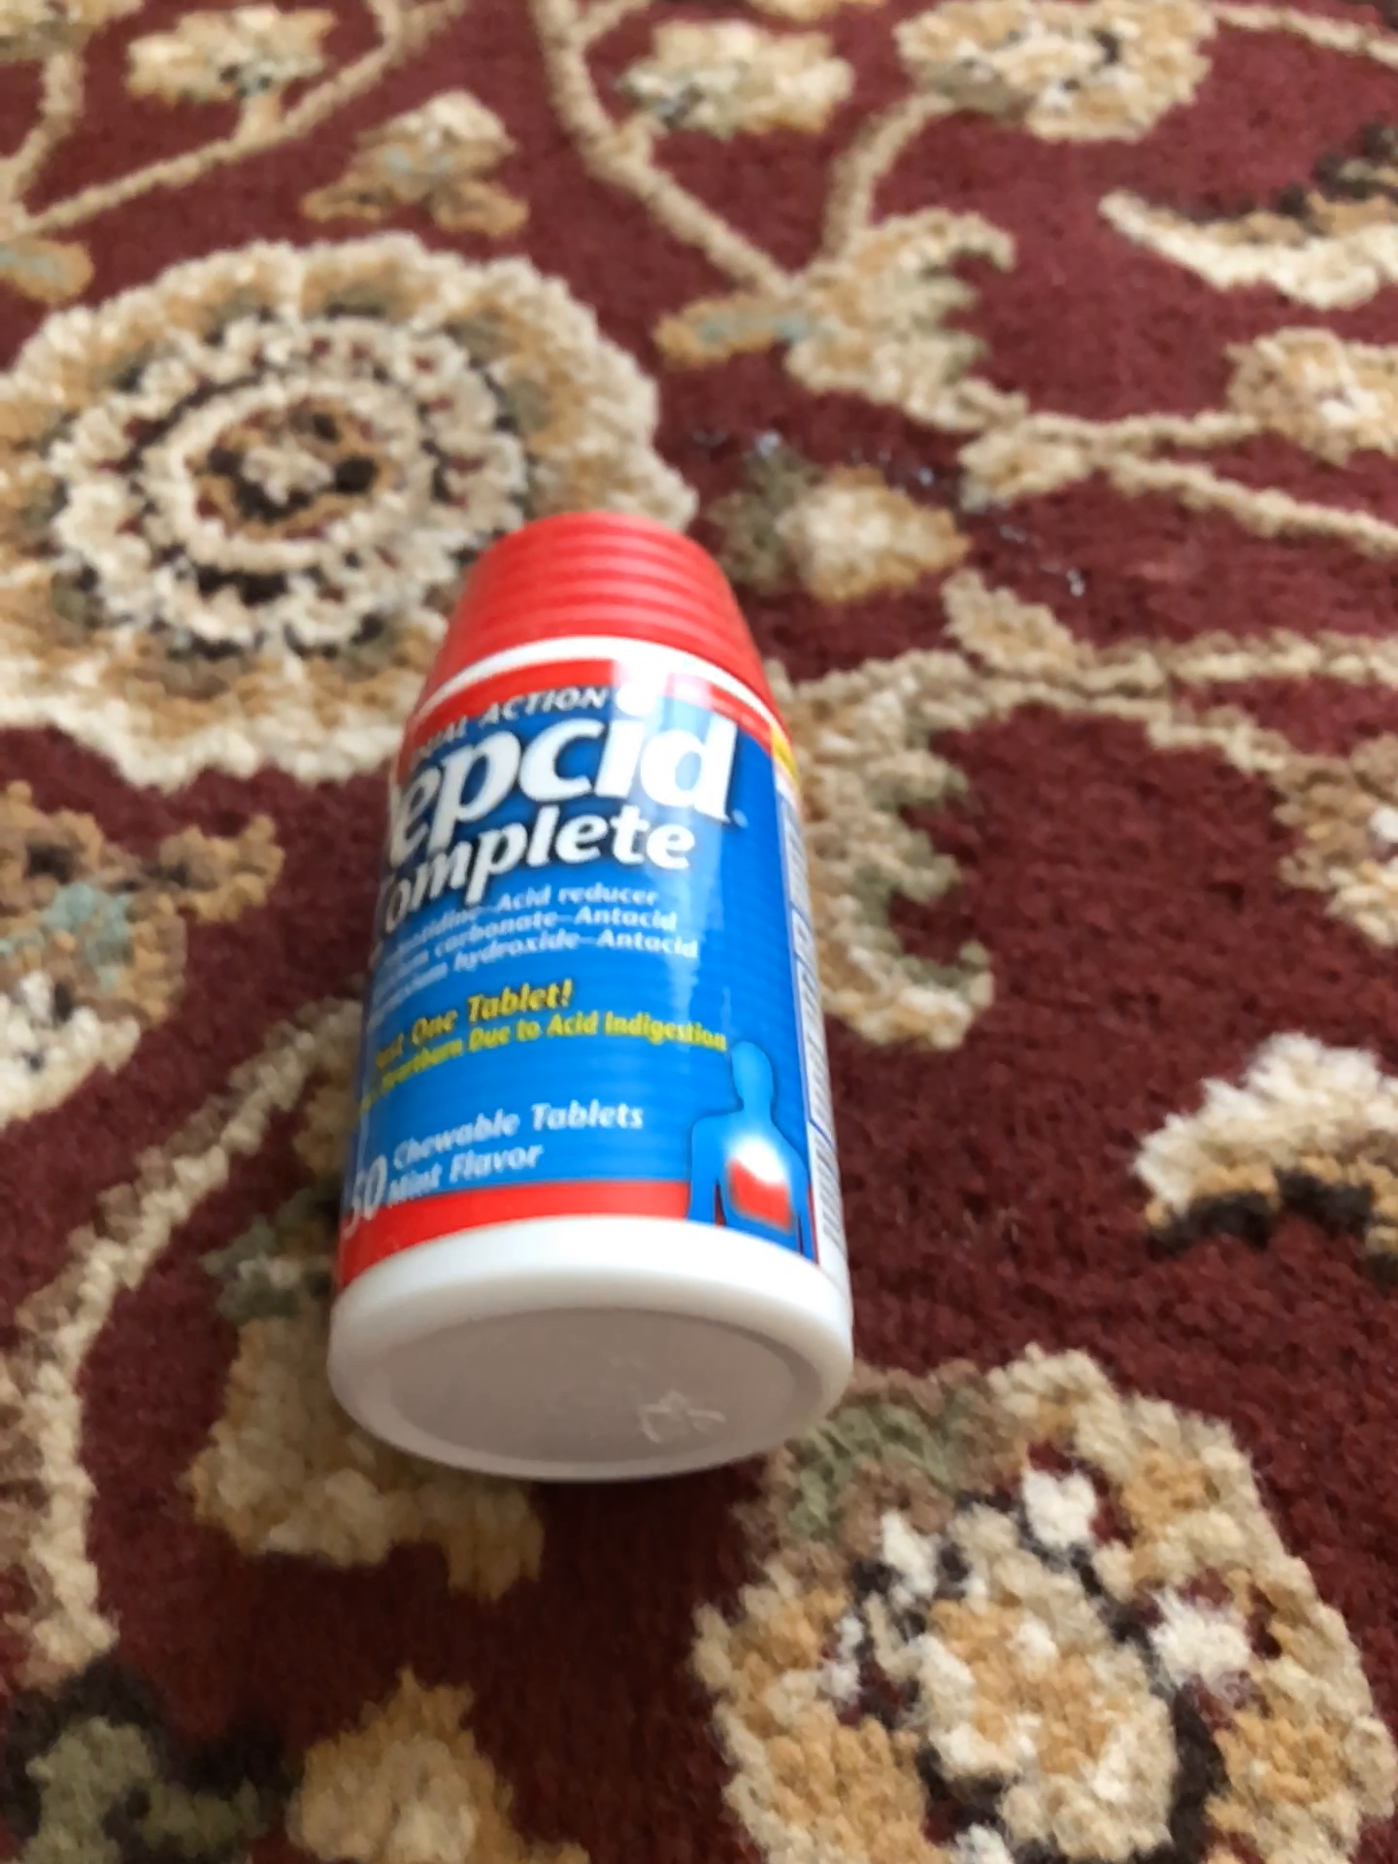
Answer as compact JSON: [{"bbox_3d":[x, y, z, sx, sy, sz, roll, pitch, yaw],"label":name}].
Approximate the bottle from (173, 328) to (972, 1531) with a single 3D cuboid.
[{"bbox_3d":[-0.011,-0.003,0.201,0.060,0.060,0.130,-16,51,19],"label":"bottle"}]
